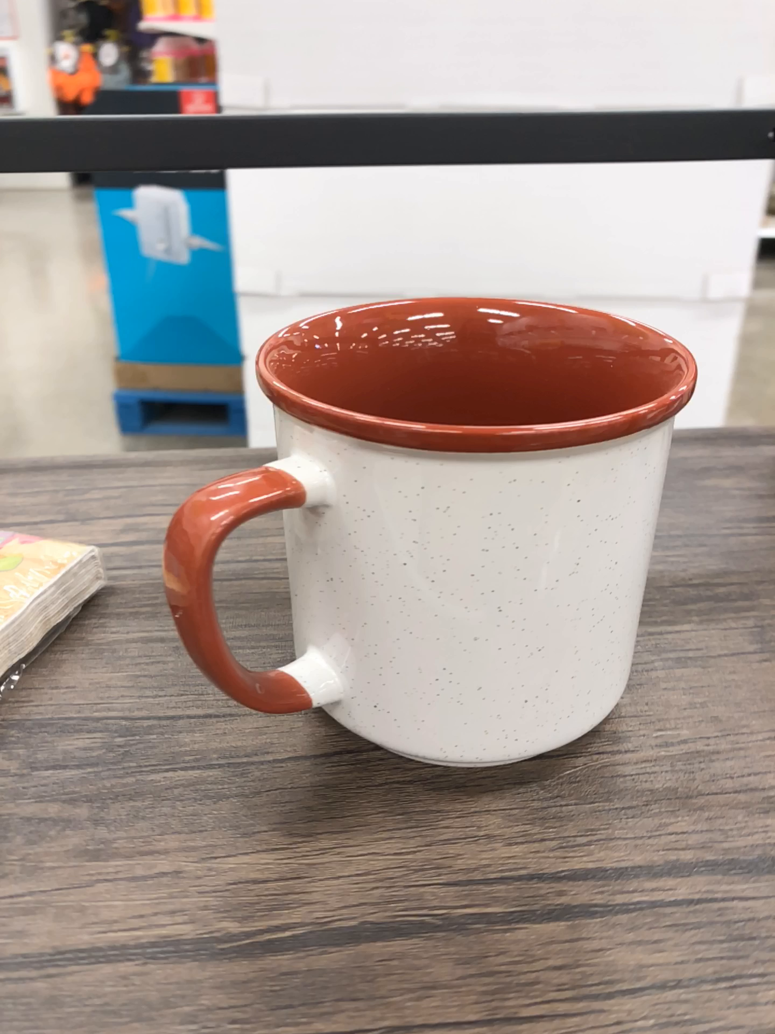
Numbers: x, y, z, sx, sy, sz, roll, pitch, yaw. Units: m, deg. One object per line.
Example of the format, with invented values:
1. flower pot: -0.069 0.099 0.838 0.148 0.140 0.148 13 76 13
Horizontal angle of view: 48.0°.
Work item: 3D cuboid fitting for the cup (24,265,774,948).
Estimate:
1. cup: 0.009 0.001 0.229 0.150 0.090 0.110 -23 36 -35
